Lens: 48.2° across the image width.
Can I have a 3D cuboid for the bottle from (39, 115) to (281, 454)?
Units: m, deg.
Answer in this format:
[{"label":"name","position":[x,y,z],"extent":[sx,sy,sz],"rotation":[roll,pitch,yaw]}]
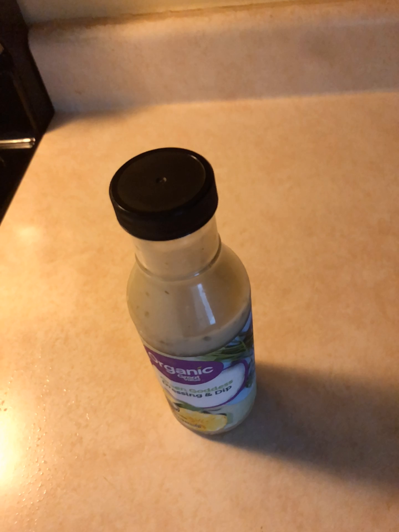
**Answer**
[{"label":"bottle","position":[-0.001,0.026,0.238],"extent":[0.070,0.190,0.070],"rotation":[-4,51,5]}]
